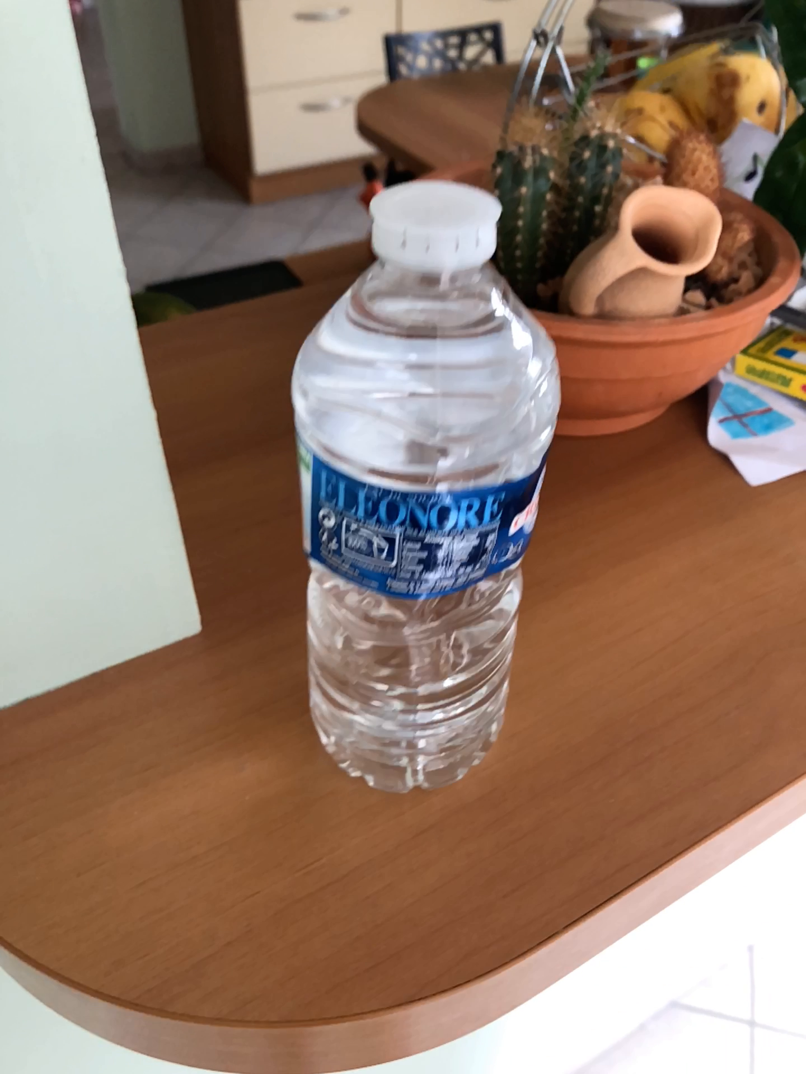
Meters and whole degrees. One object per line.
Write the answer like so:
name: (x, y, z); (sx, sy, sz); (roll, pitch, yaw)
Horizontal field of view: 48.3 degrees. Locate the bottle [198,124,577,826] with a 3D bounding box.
bottle: (-0.002, -0.004, 0.254); (0.070, 0.189, 0.070); (1, 42, -1)
